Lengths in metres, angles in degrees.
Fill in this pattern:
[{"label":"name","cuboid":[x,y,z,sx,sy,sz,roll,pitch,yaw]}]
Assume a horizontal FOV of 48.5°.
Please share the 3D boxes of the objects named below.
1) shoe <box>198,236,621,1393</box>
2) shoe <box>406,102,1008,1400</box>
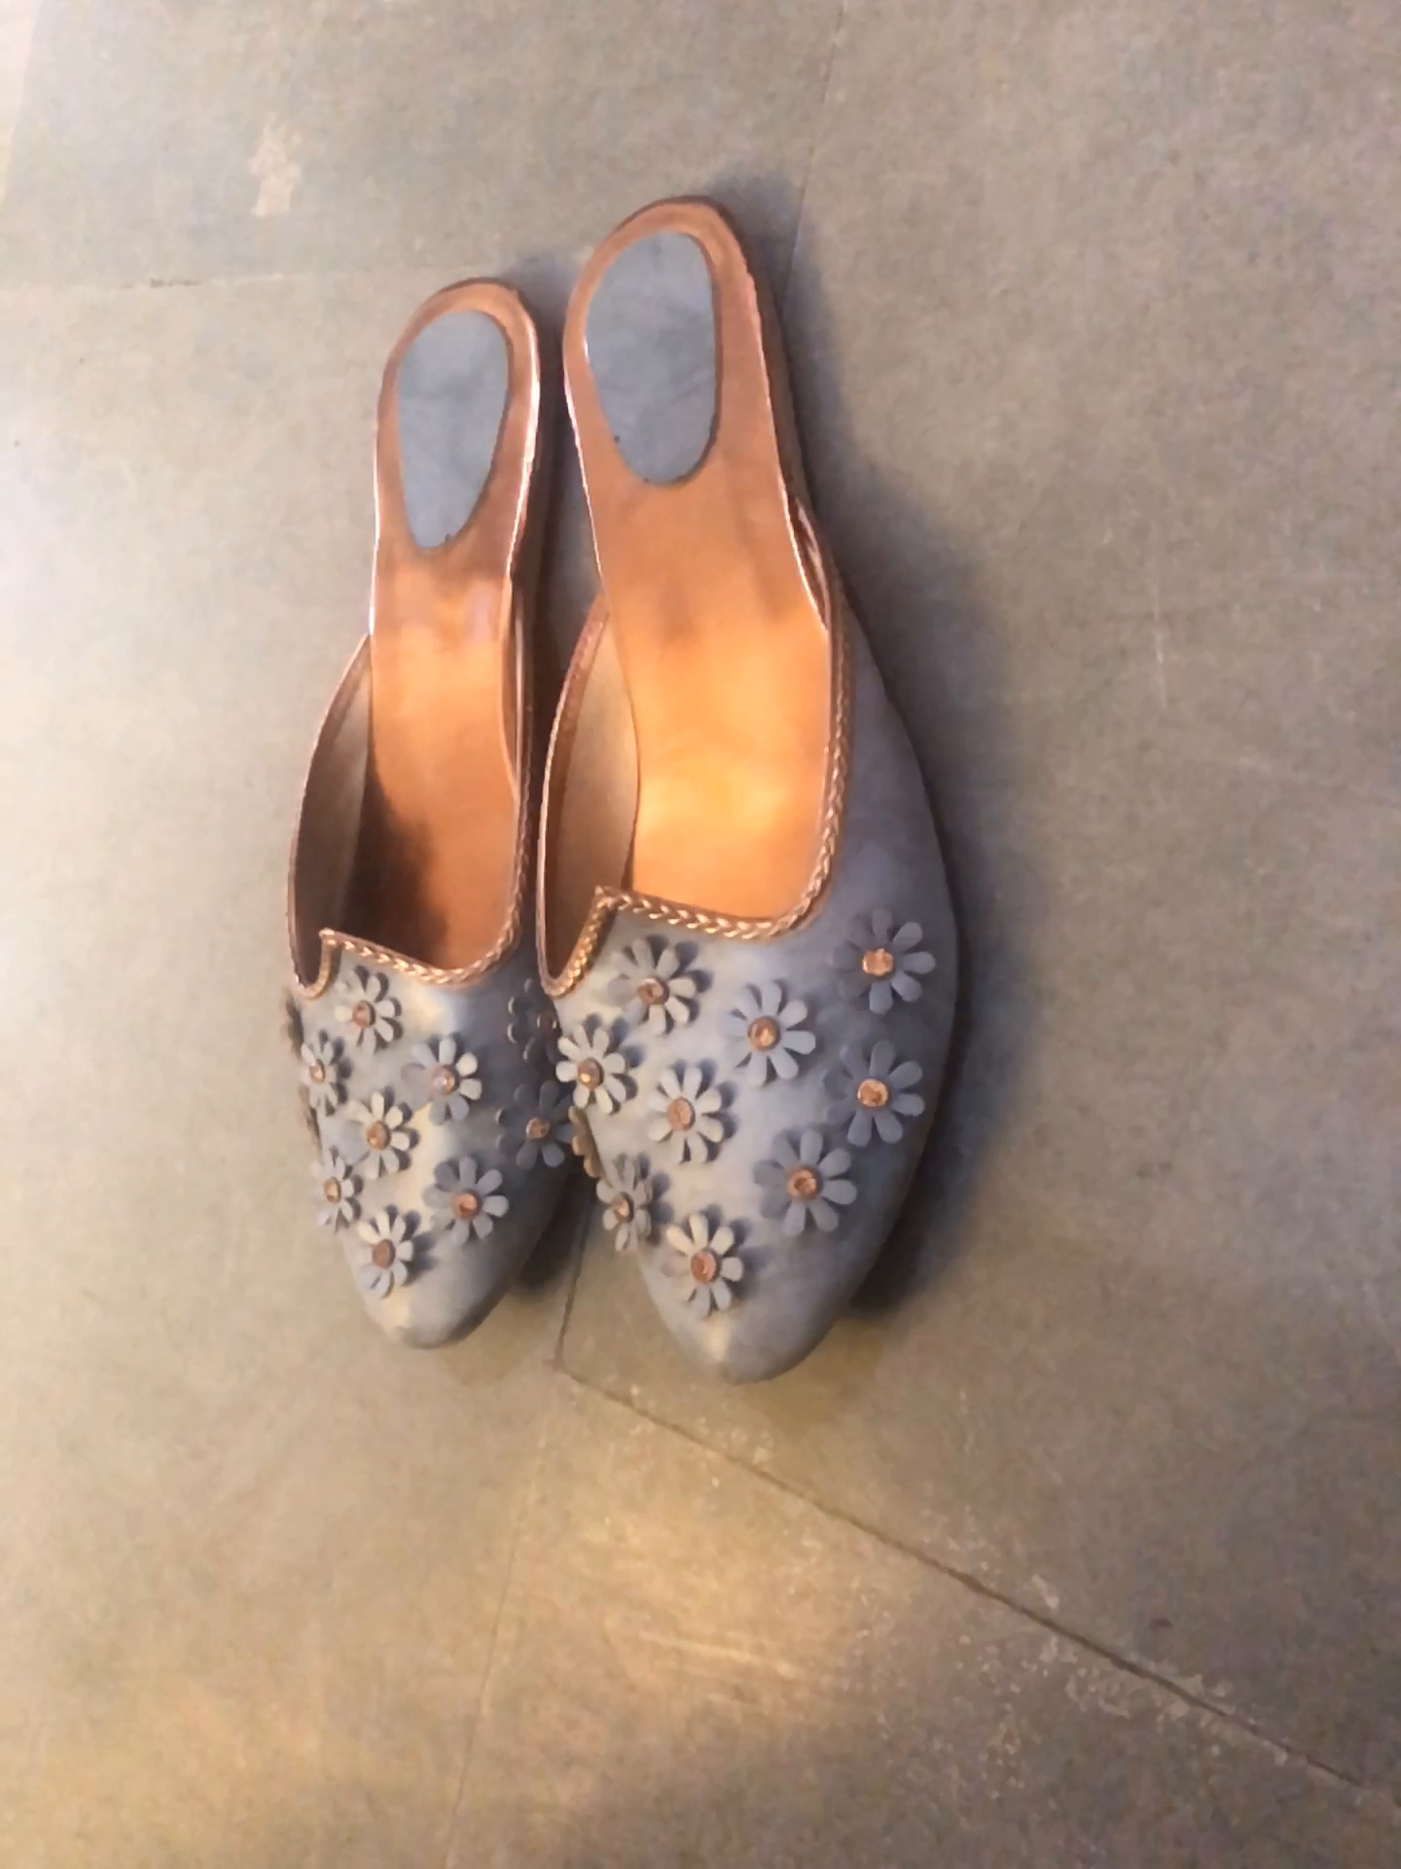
[{"label":"shoe","cuboid":[-0.079,-0.027,0.407,0.101,0.050,0.270,-6,82,36]},{"label":"shoe","cuboid":[-0.005,-0.036,0.361,0.101,0.050,0.270,-13,78,35]}]
